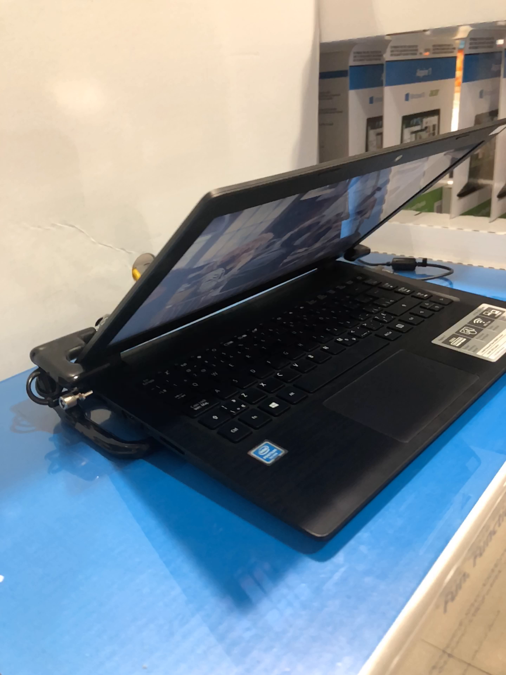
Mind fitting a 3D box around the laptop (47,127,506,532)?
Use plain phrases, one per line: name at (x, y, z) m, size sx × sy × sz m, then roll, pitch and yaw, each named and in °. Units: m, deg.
laptop at (0.067, -0.057, 0.422) m, size 0.206 × 0.145 × 0.333 m, roll 21°, pitch 35°, yaw 40°
